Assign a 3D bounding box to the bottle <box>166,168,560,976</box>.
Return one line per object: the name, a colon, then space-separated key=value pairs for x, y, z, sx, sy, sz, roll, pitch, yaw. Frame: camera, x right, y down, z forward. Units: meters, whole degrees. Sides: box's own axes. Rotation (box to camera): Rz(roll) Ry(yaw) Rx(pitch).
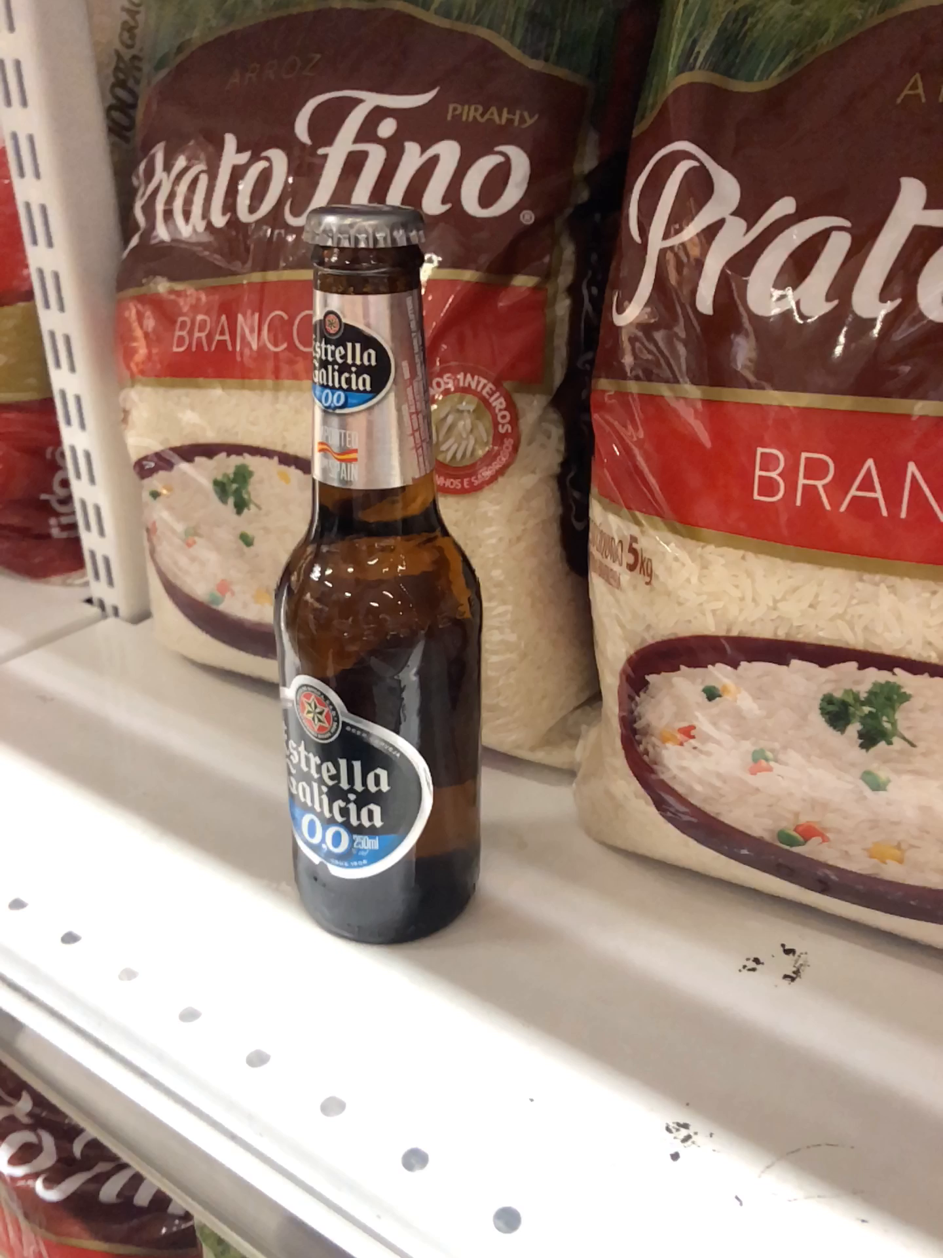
bottle: x=-0.023 y=-0.013 z=0.270 sx=0.060 sy=0.189 sz=0.060 roll=0 pitch=27 yaw=0
